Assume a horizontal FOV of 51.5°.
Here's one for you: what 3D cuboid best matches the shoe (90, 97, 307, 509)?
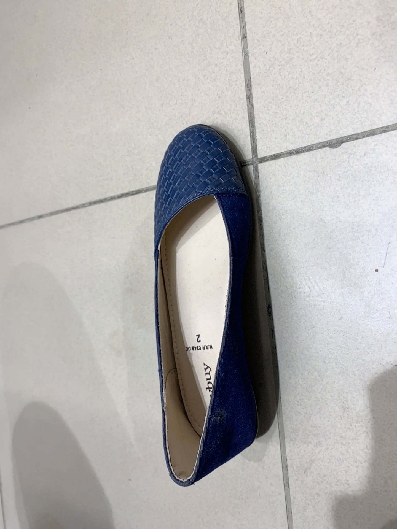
[{"bbox_3d":[-0.003,0.023,0.269,0.090,0.060,0.220,-12,86,38],"label":"shoe"}]
